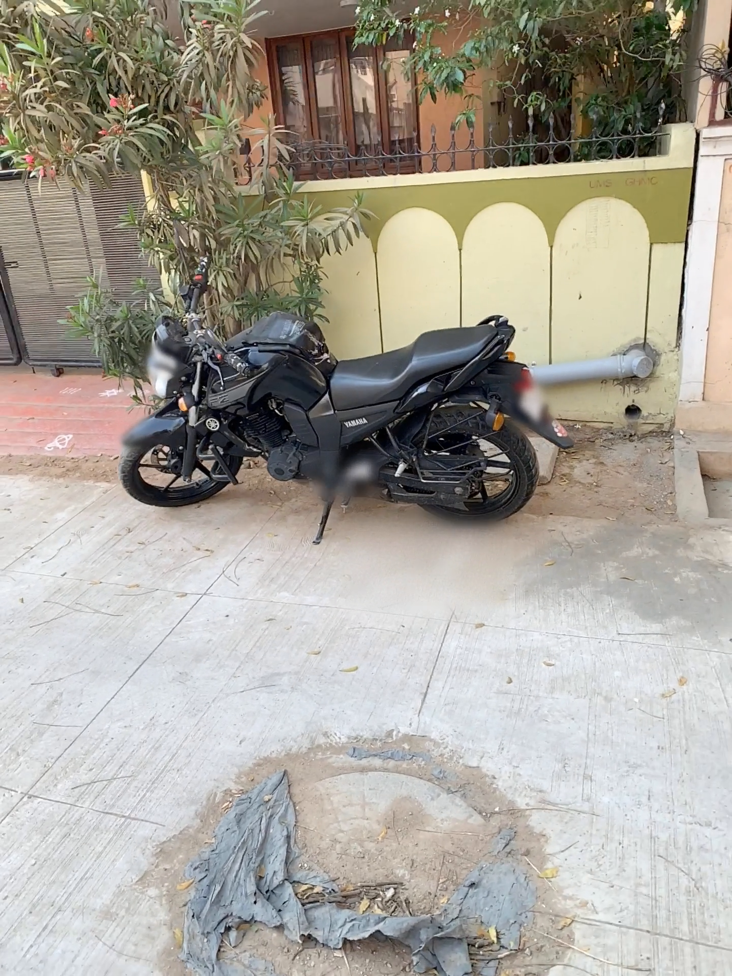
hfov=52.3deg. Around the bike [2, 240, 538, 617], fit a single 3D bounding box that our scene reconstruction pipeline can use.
[{"bbox_3d":[-0.268,-0.186,2.807,1.683,1.076,0.749,-2,23,18],"label":"bike"}]
